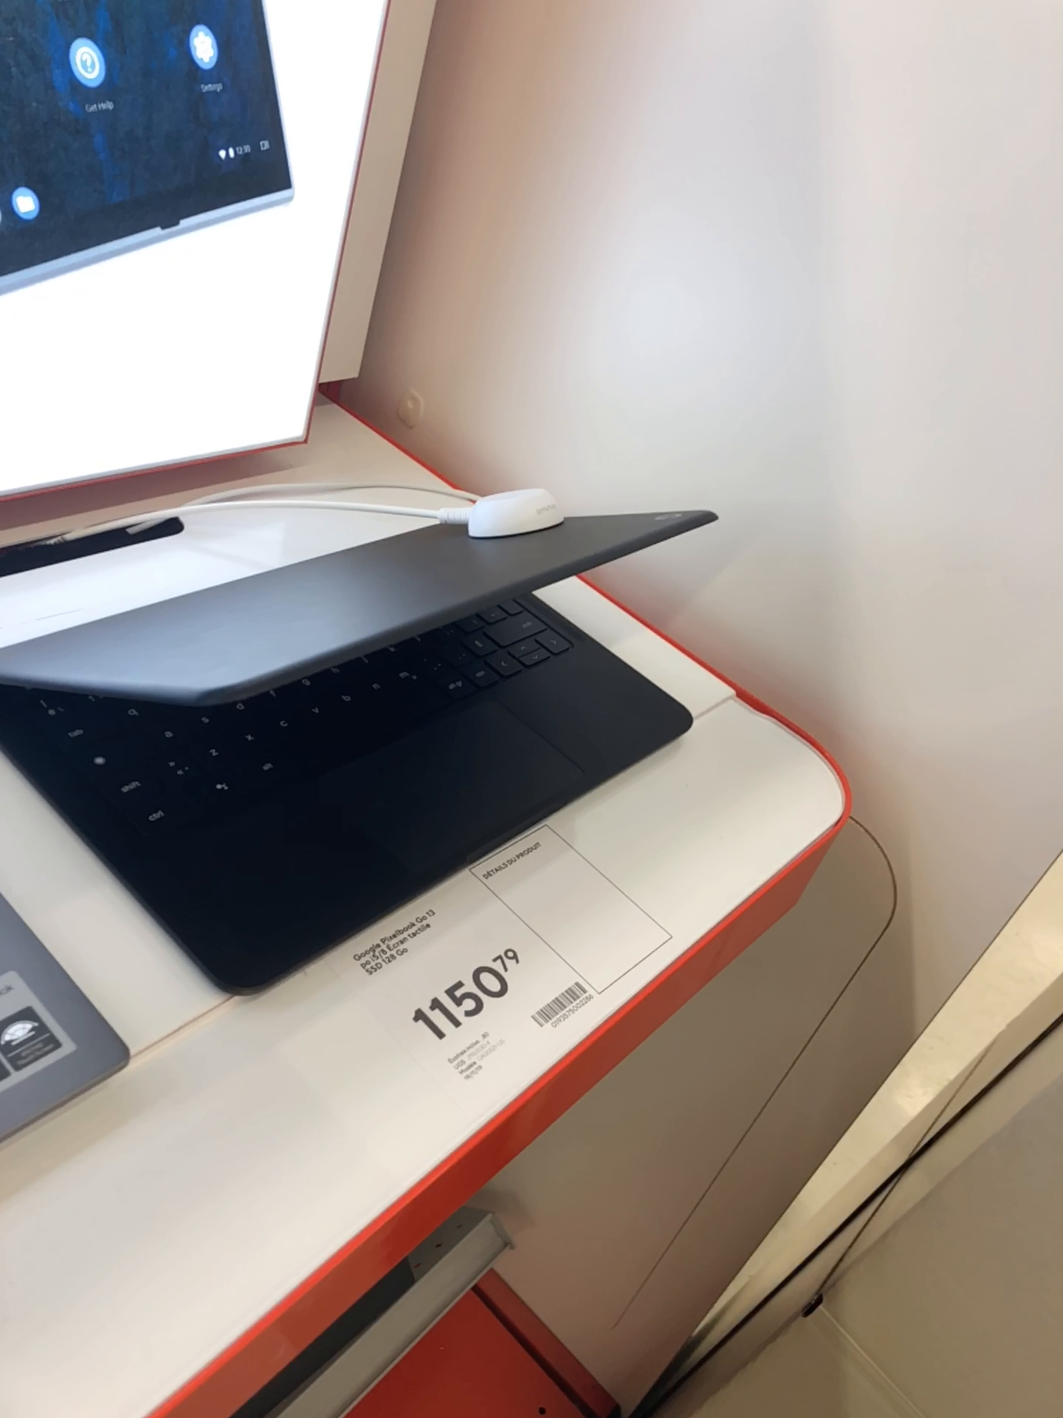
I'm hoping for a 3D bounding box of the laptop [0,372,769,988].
[{"bbox_3d":[-0.065,-0.044,0.534,0.199,0.106,0.299,37,39,24],"label":"laptop"}]
